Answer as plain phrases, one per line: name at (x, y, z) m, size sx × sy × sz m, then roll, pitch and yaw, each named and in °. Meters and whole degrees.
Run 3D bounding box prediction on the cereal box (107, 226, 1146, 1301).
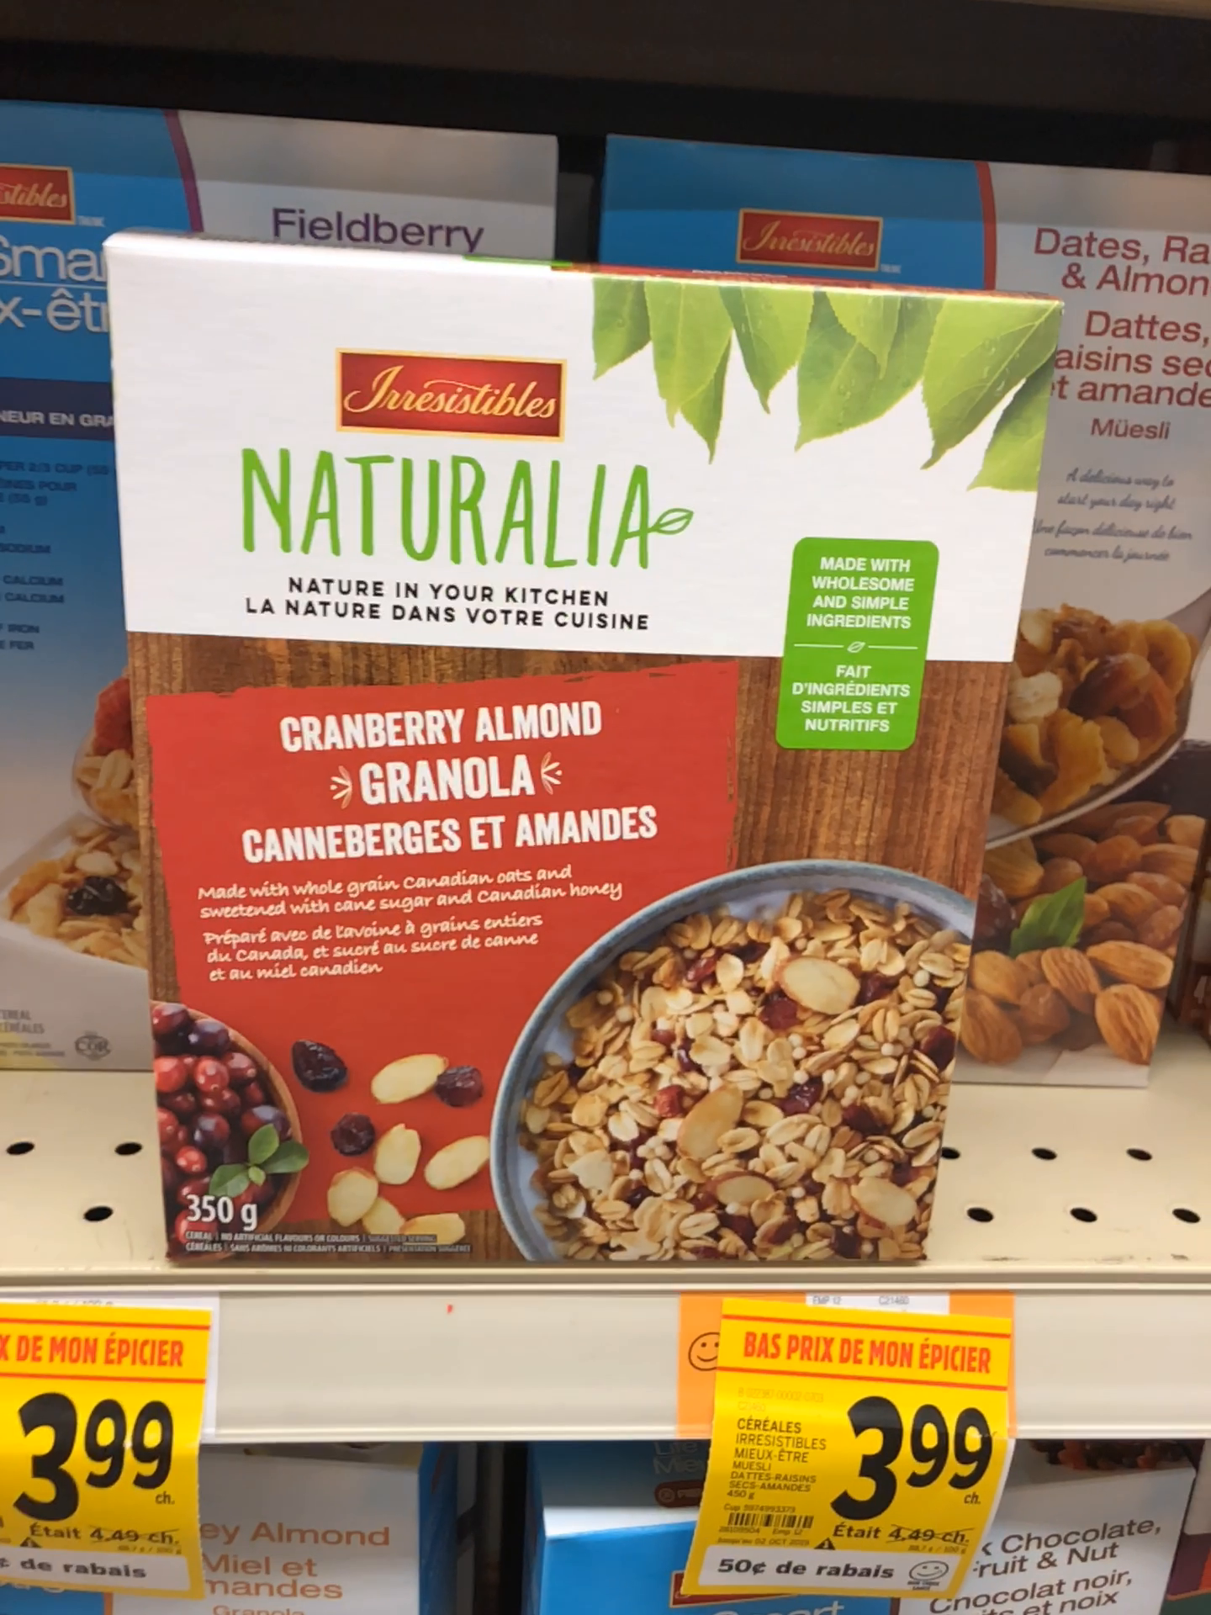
cereal box at (-0.002, -0.002, 0.283) m, size 0.170 × 0.209 × 0.060 m, roll 2°, pitch 20°, yaw -4°
